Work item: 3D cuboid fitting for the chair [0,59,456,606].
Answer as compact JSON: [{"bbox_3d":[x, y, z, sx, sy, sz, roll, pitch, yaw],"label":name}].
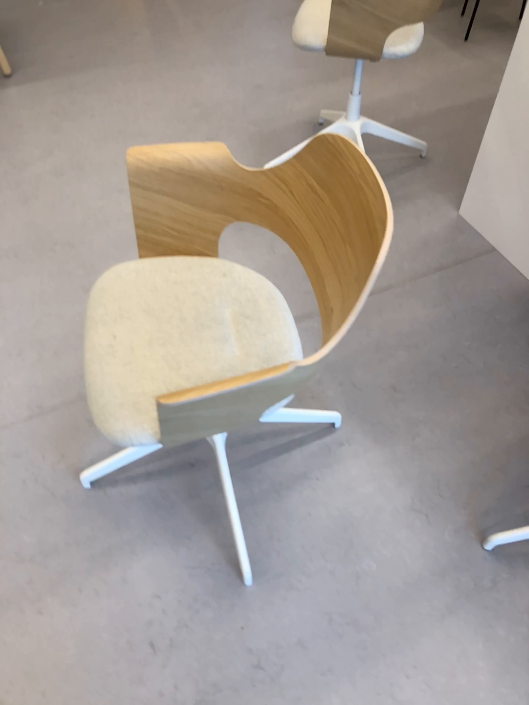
[{"bbox_3d":[-0.146,-0.002,1.110,0.660,0.776,0.714,-1,52,-1],"label":"chair"}]
